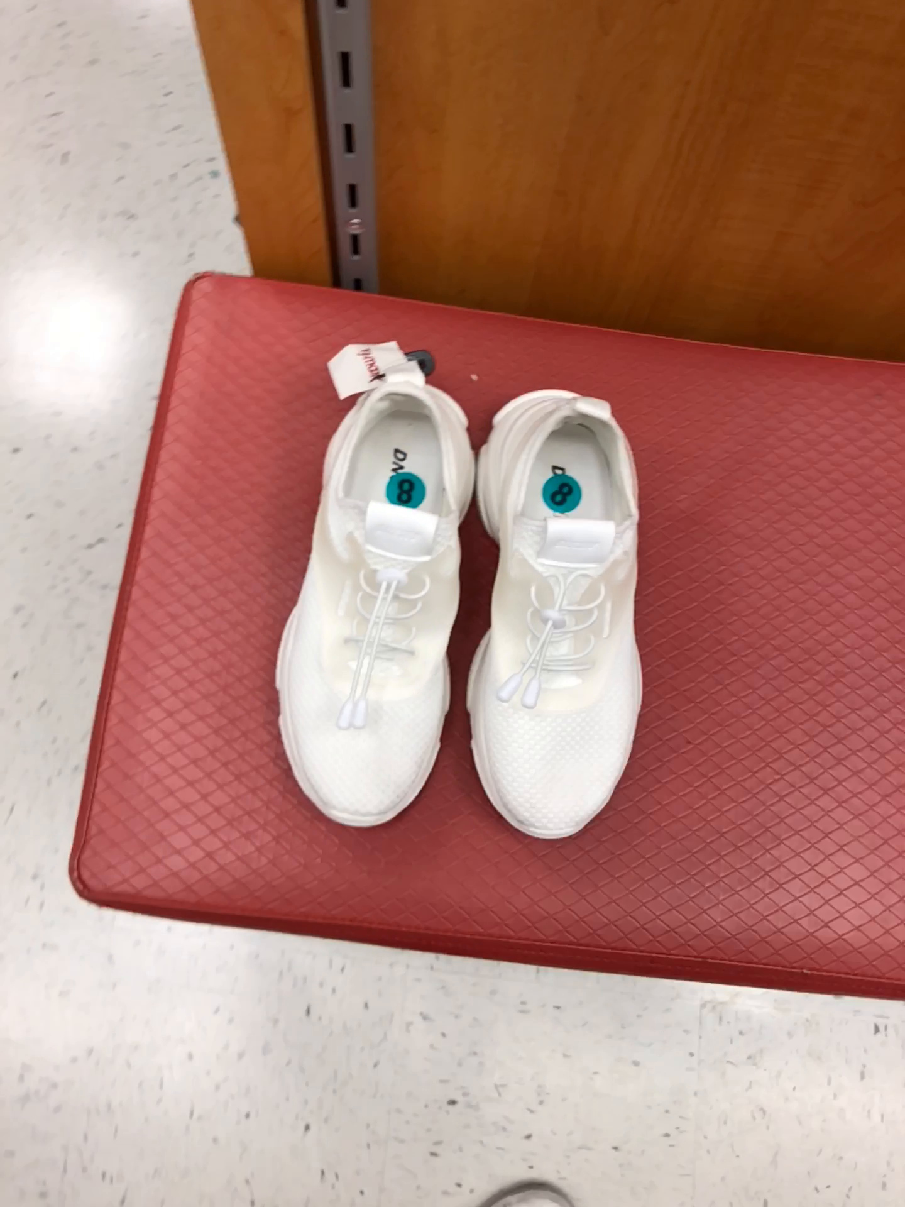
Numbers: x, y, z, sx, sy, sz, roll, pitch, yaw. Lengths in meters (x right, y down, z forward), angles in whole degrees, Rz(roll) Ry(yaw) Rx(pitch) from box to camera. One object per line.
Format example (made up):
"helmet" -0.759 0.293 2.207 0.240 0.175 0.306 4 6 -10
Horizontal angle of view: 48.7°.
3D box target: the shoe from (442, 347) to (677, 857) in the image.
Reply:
"shoe" 0.063 0.004 0.599 0.109 0.110 0.277 5 75 -2

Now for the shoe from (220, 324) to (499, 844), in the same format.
"shoe" -0.048 -0.007 0.595 0.112 0.110 0.277 8 75 -1
